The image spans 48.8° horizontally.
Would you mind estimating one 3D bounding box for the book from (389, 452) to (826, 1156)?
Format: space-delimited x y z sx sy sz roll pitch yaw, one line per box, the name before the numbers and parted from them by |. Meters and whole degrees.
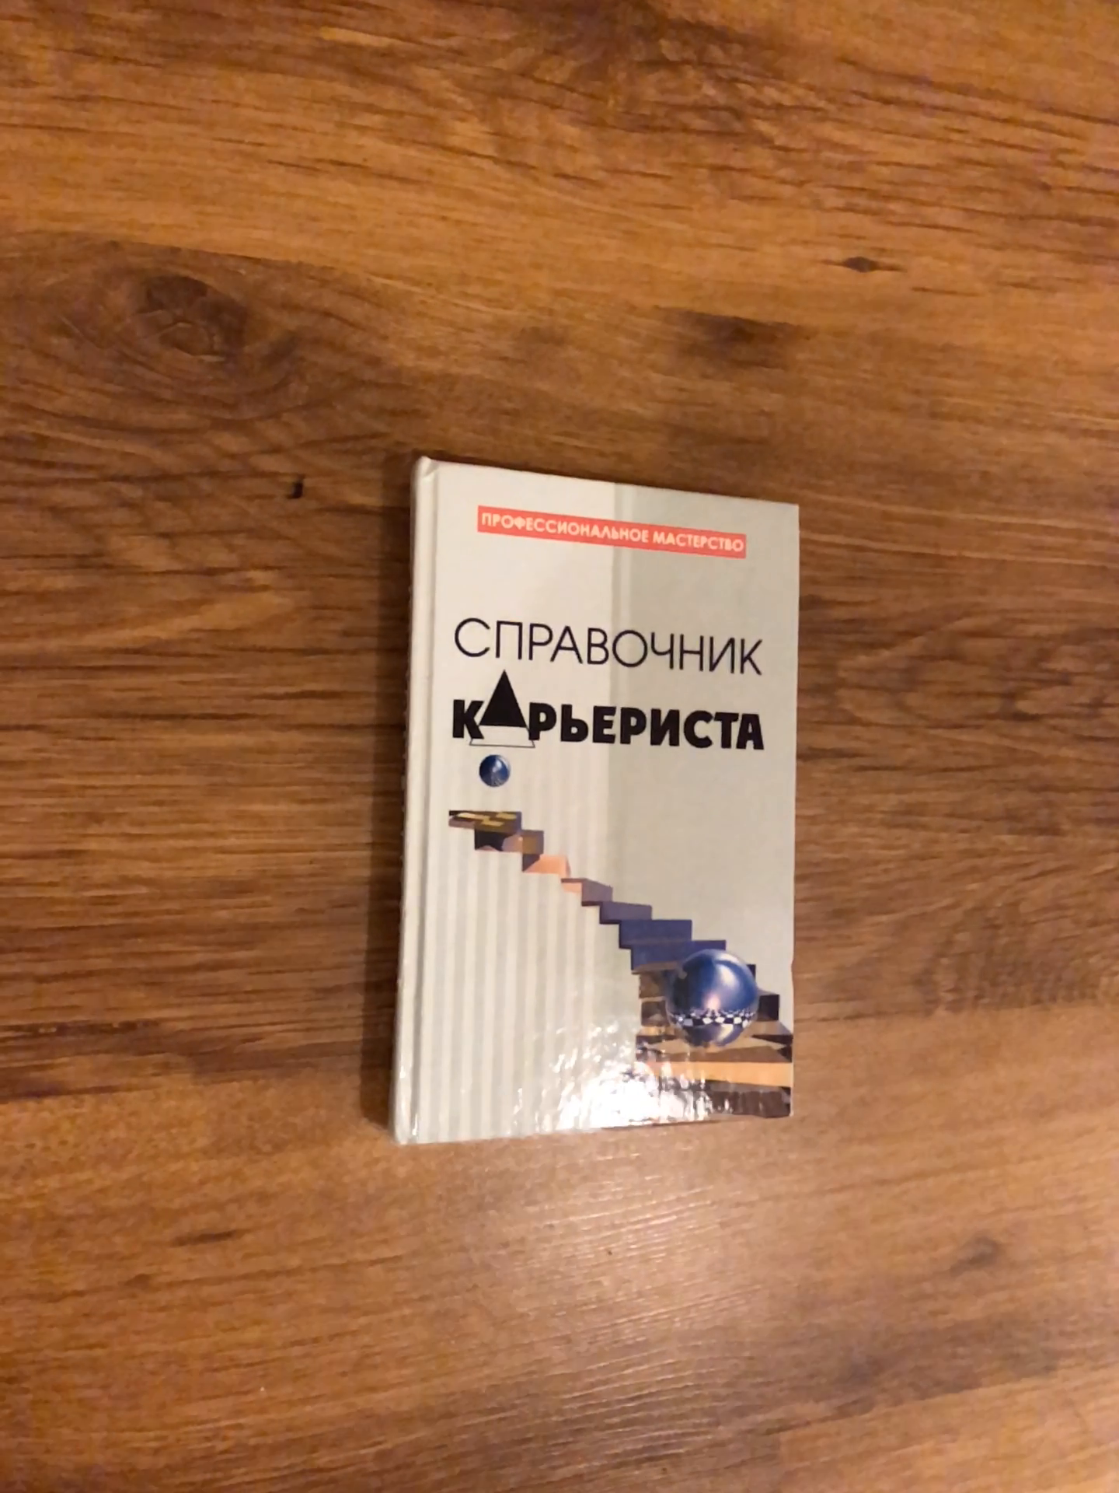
book | 0.018 0.018 0.392 0.136 0.026 0.204 2 86 -19
